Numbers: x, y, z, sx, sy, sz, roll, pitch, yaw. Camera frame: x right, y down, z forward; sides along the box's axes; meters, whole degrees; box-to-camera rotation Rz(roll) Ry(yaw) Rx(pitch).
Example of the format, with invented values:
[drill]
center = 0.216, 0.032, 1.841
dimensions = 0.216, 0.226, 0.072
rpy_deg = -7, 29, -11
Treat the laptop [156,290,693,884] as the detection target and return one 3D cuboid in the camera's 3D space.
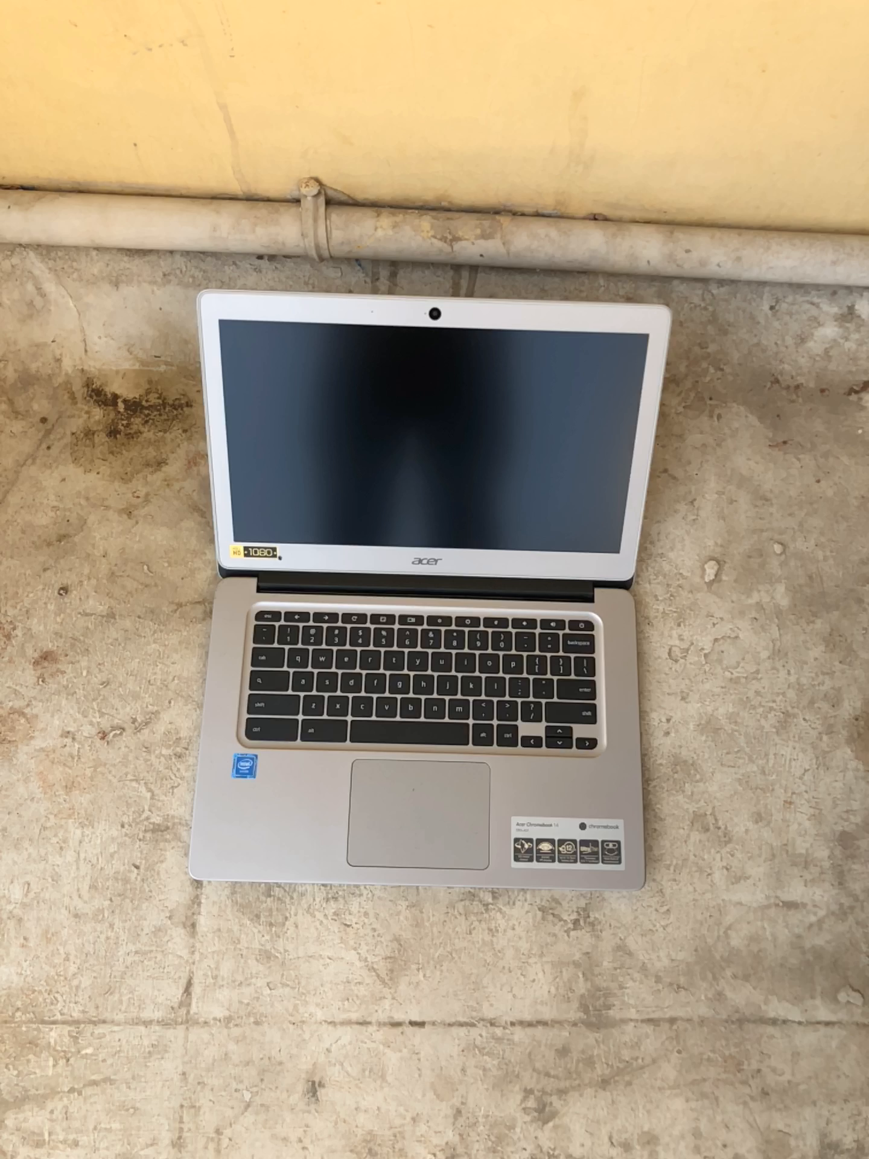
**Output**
[laptop]
center = -0.001, 0.008, 0.673
dimensions = 0.315, 0.137, 0.379
rpy_deg = 2, 75, -1
